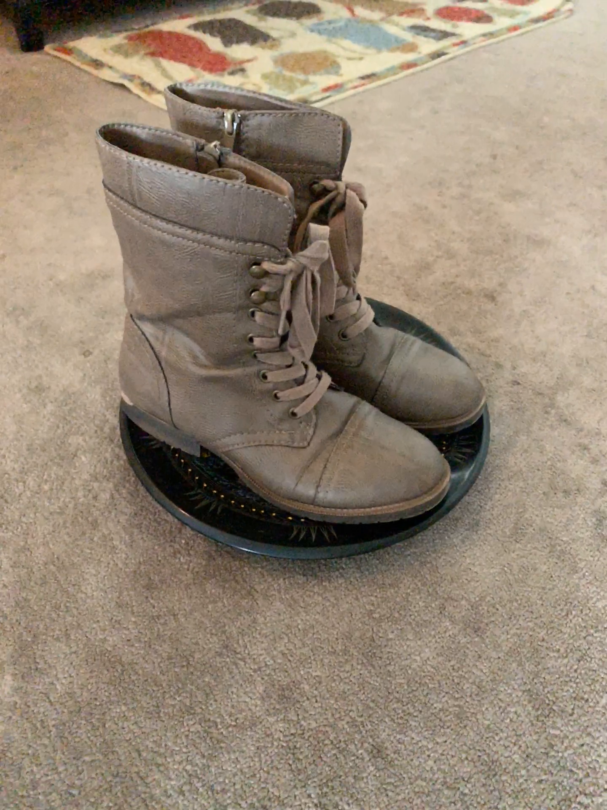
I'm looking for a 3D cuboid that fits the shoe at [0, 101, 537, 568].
[{"bbox_3d":[-0.029,-0.045,0.384,0.270,0.198,0.101,18,47,18],"label":"shoe"}]

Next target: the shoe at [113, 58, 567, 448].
[{"bbox_3d":[0.020,-0.111,0.454,0.260,0.198,0.101,18,47,18],"label":"shoe"}]
